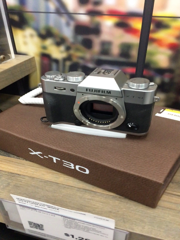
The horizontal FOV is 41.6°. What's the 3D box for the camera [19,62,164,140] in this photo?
[{"bbox_3d":[0.005,-0.027,0.282,0.140,0.057,0.068,10,37,15],"label":"camera"}]
